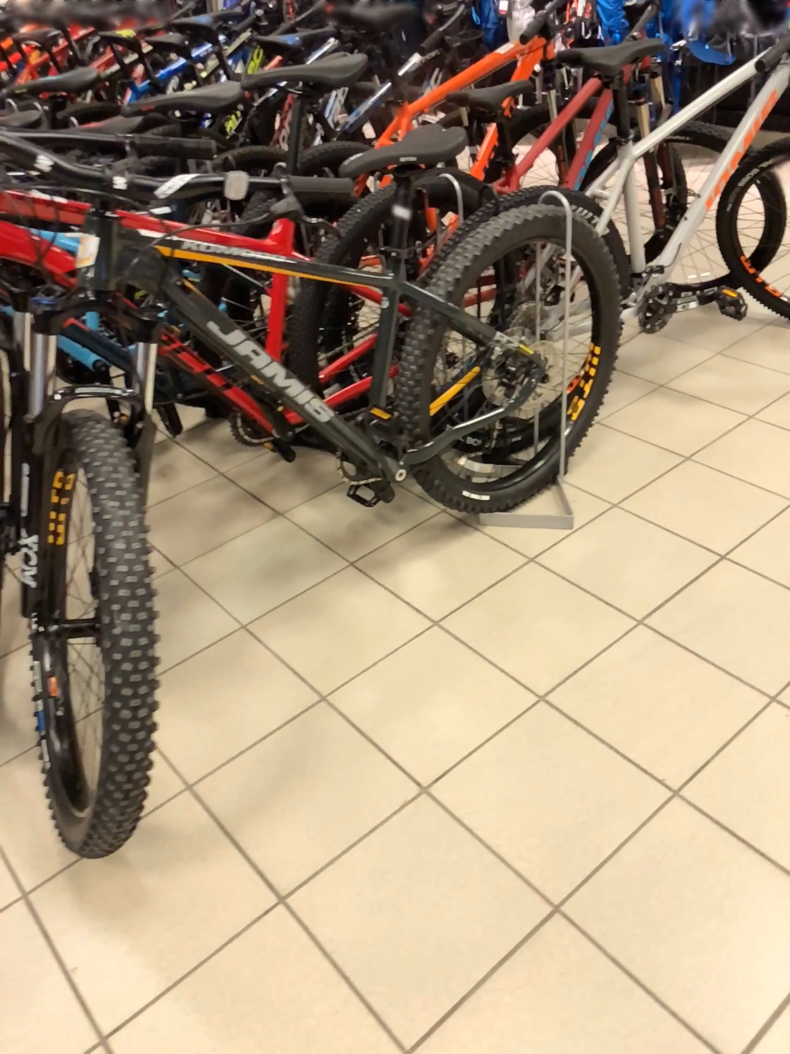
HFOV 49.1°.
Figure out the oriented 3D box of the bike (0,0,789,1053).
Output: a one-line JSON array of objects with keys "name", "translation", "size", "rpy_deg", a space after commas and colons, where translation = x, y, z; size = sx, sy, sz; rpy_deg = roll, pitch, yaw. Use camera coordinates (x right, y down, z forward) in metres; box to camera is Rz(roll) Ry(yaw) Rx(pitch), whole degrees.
[{"name": "bike", "translation": [0.056, -0.261, 1.589], "size": [0.809, 1.166, 1.548], "rpy_deg": [21, 44, 33]}]
